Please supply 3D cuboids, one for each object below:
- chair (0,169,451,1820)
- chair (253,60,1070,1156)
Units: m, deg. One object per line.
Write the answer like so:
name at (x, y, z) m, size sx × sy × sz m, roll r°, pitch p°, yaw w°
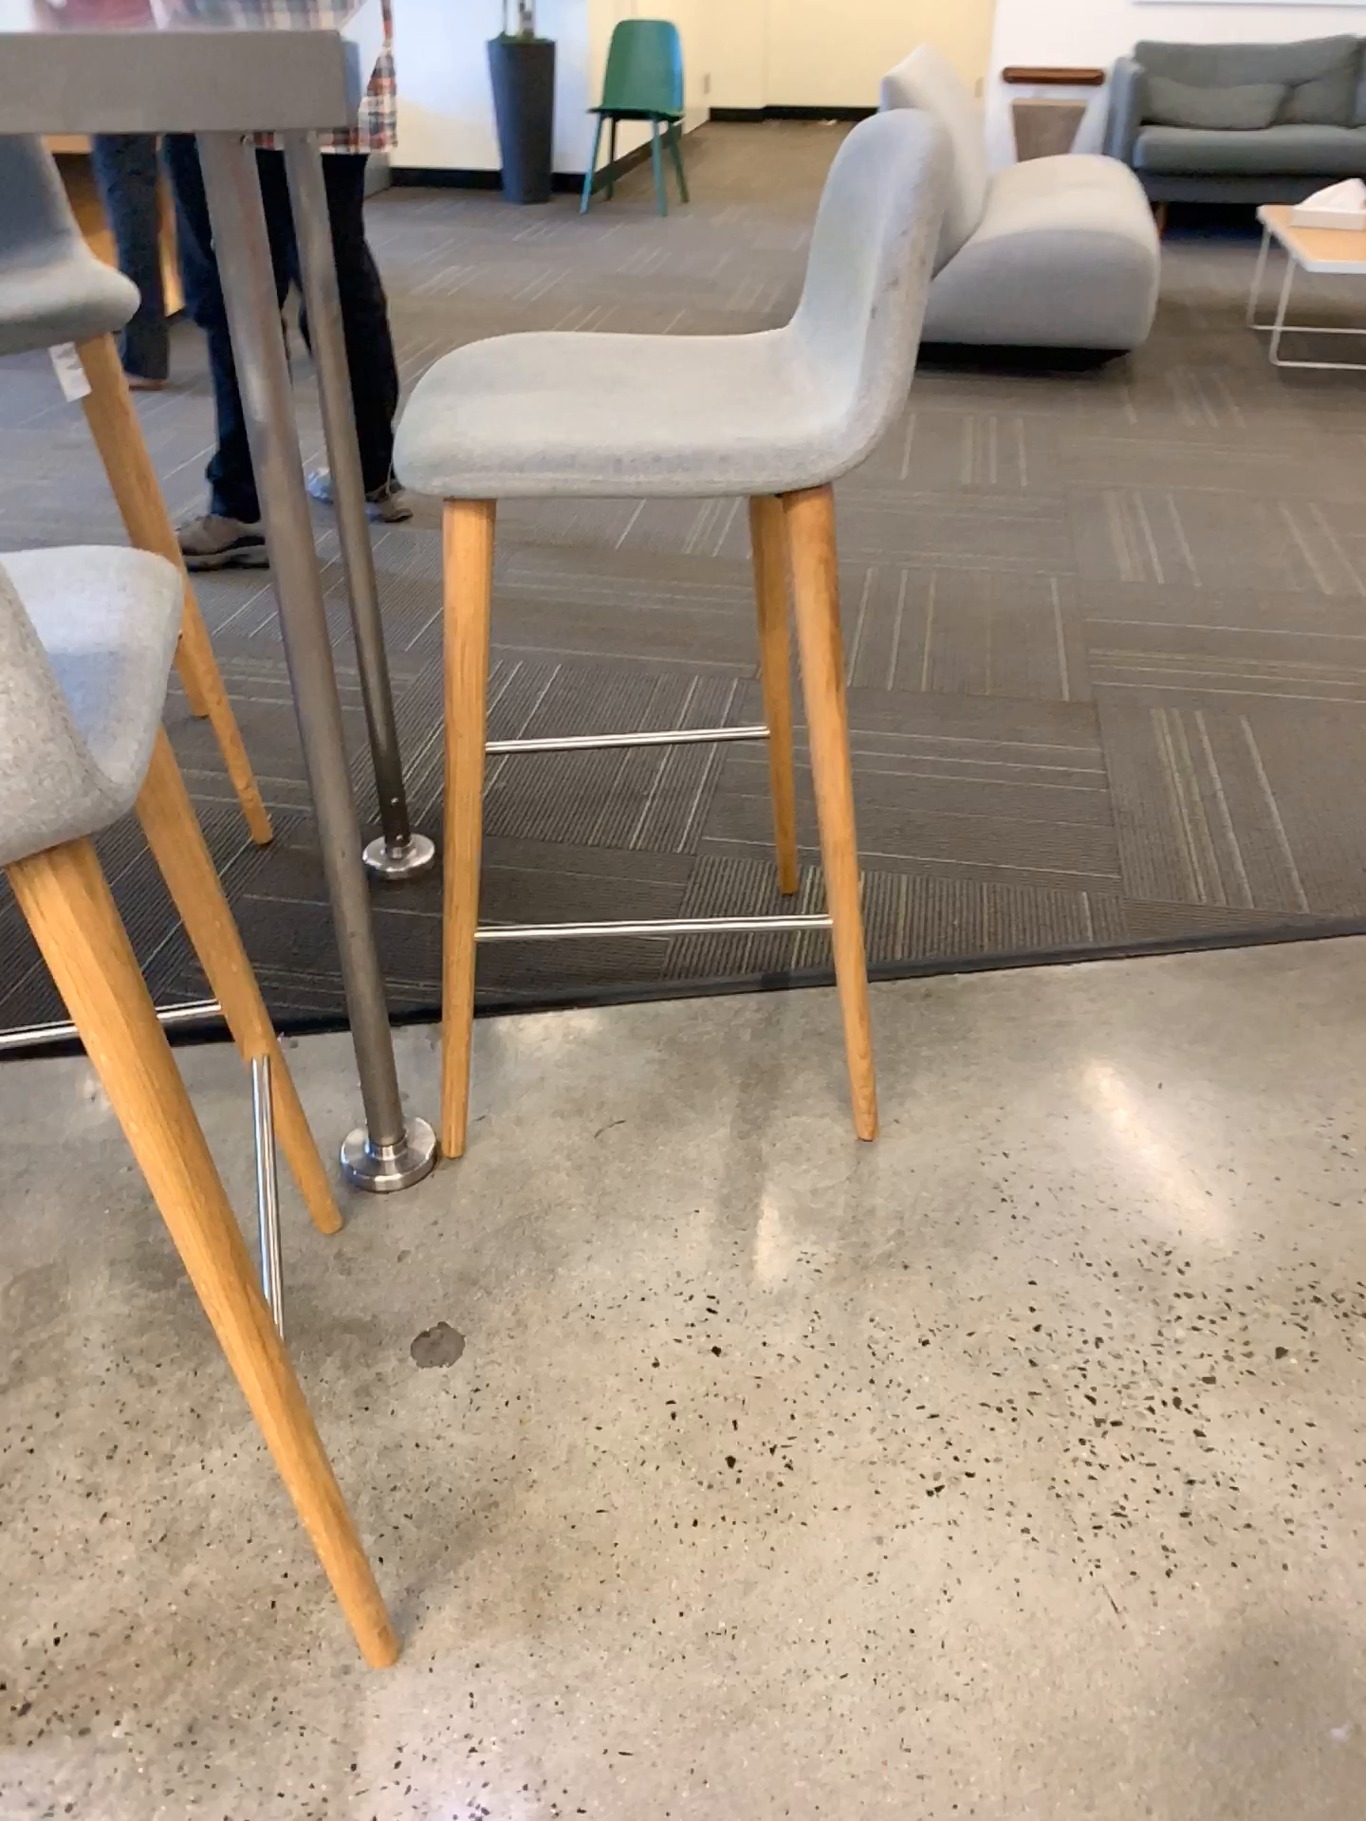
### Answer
chair at (-0.496, 0.064, 0.925) m, size 0.550 × 0.914 × 0.574 m, roll -7°, pitch 34°, yaw -11°
chair at (-0.032, -0.411, 1.662) m, size 0.580 × 0.974 × 0.966 m, roll -1°, pitch 34°, yaw -2°
